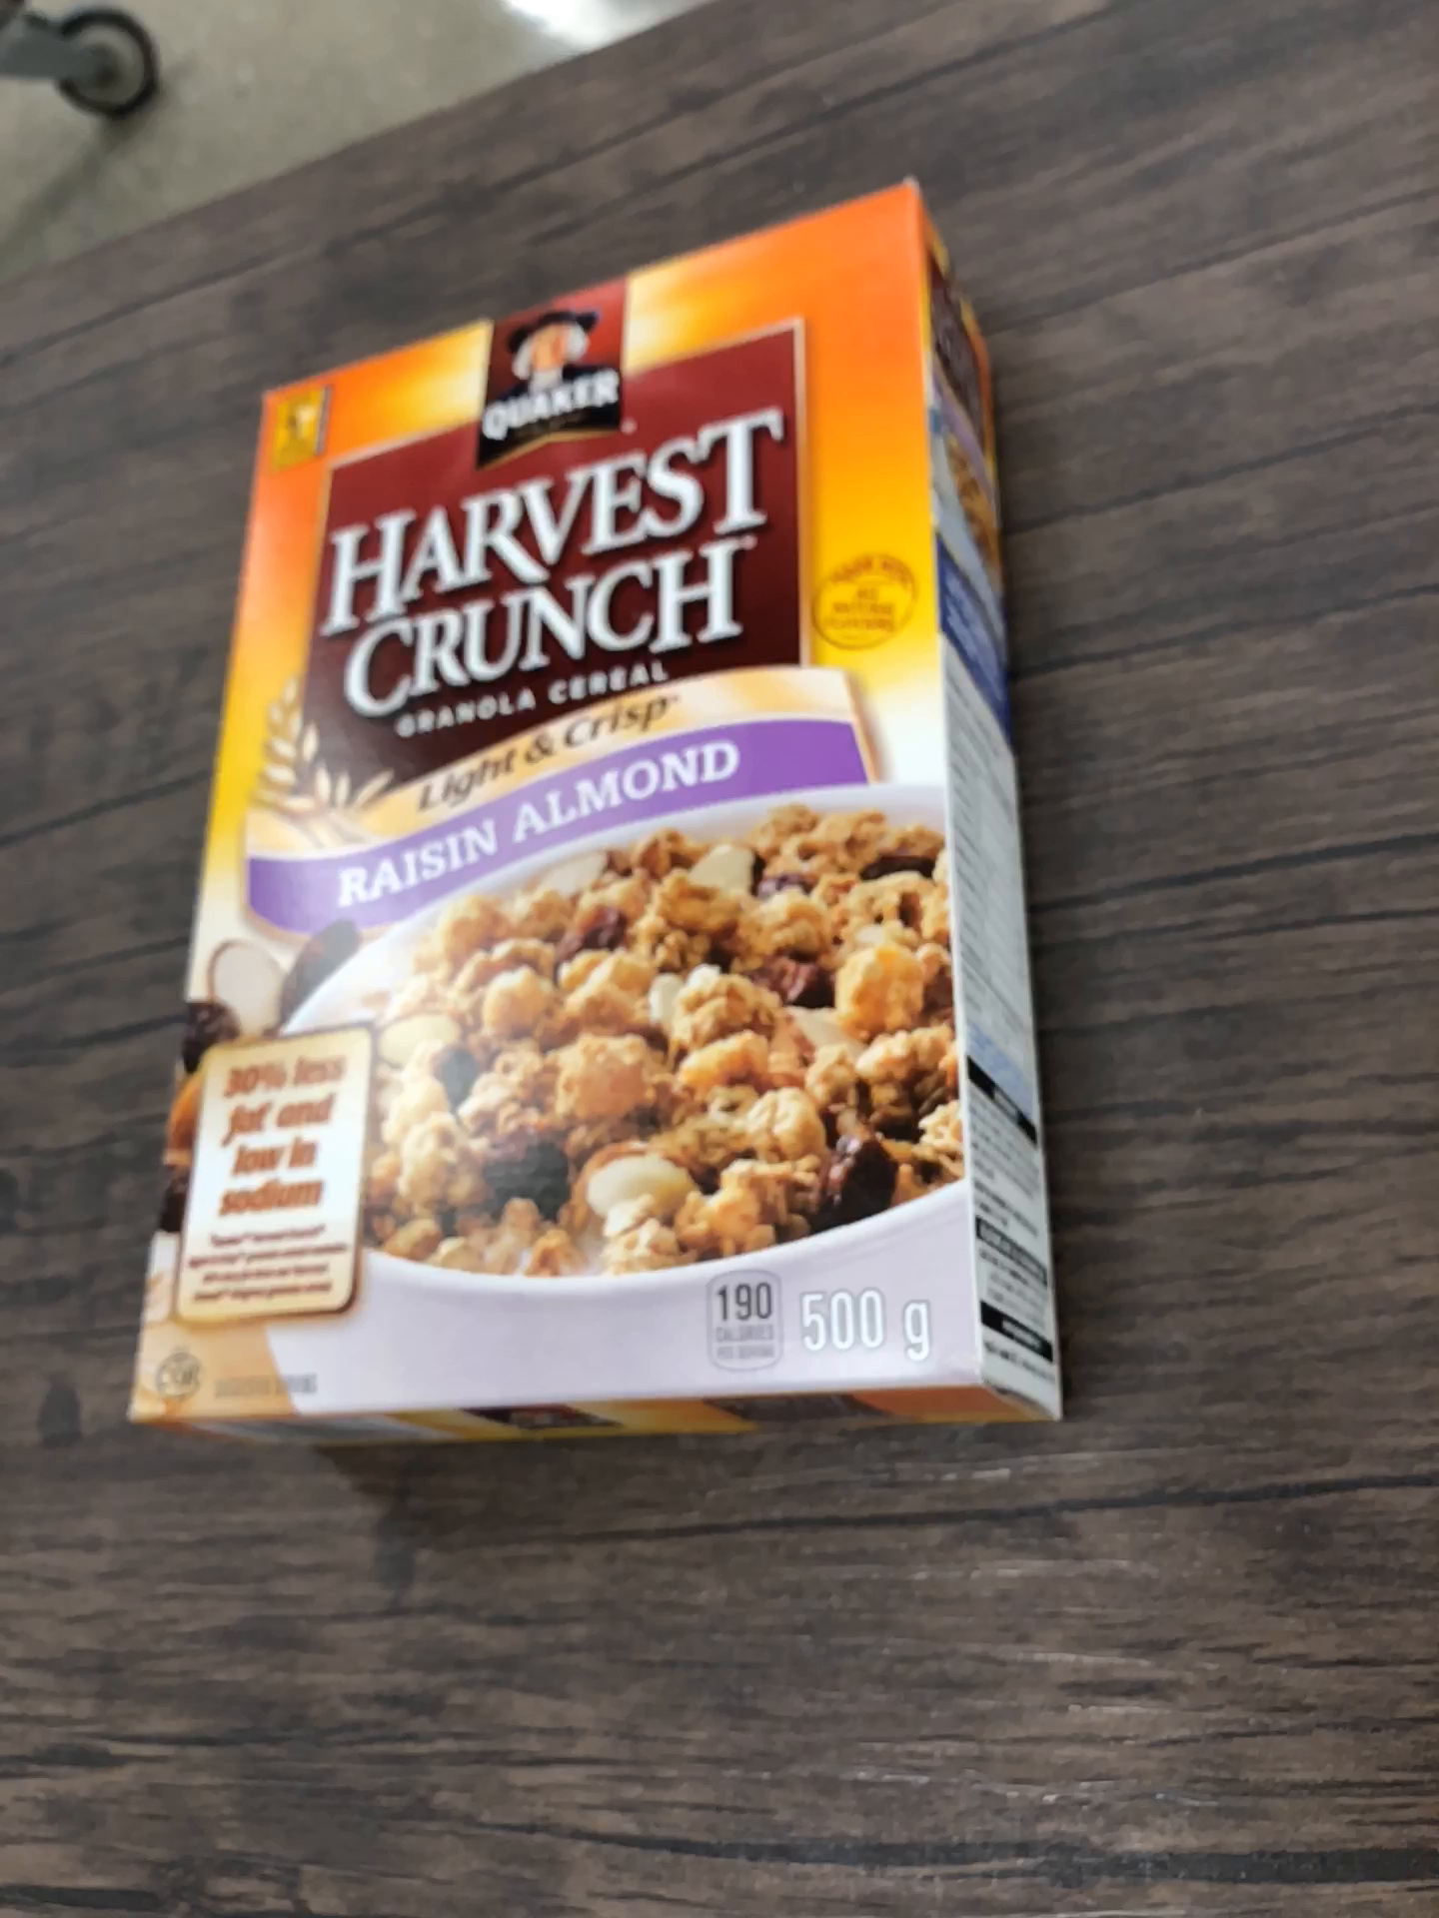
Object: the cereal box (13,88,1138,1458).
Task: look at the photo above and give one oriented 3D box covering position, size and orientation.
[{"bbox_3d":[-0.027,-0.030,0.306,0.180,0.050,0.230,-8,67,21],"label":"cereal box"}]
